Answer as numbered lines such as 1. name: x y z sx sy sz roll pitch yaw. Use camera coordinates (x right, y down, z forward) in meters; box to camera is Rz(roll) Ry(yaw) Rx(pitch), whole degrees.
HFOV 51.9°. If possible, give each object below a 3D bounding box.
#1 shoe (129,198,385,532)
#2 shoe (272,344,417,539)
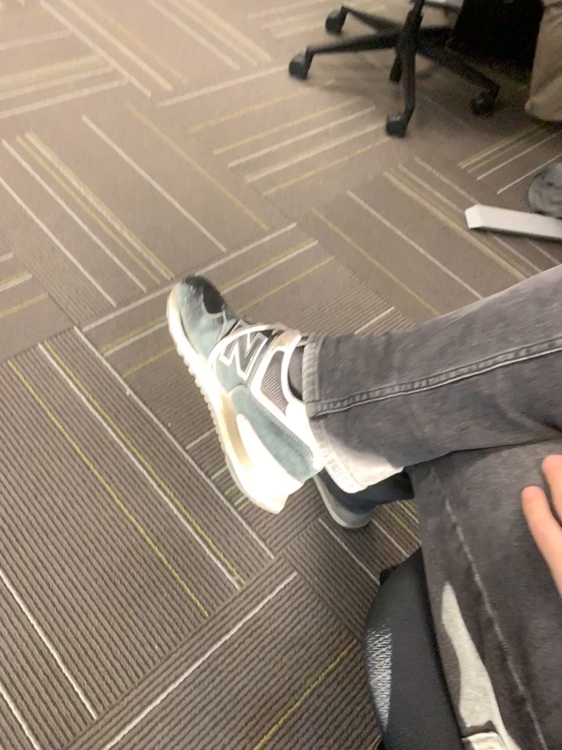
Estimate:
1. shoe: -0.033 -0.014 0.602 0.133 0.115 0.305 -31 60 12
2. shoe: 0.100 0.113 1.040 0.115 0.133 0.305 -13 59 -20
